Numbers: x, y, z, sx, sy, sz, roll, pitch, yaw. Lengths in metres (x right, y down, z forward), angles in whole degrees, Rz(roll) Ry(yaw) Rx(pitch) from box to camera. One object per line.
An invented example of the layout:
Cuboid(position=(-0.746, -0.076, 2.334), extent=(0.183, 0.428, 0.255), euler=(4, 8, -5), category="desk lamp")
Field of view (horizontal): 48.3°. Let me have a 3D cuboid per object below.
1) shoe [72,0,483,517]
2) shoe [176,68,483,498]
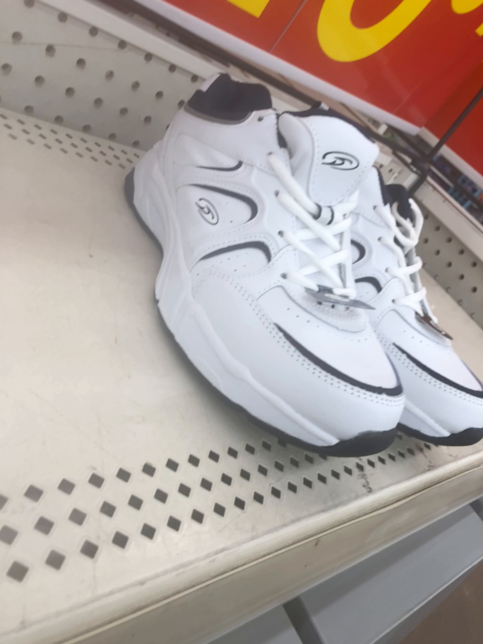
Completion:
Cuboid(position=(0.007, -0.048, 0.302), extent=(0.110, 0.119, 0.260), euler=(10, 40, -40), category="shoe")
Cuboid(position=(0.076, -0.036, 0.369), extent=(0.110, 0.119, 0.260), euler=(6, 42, -44), category="shoe")
